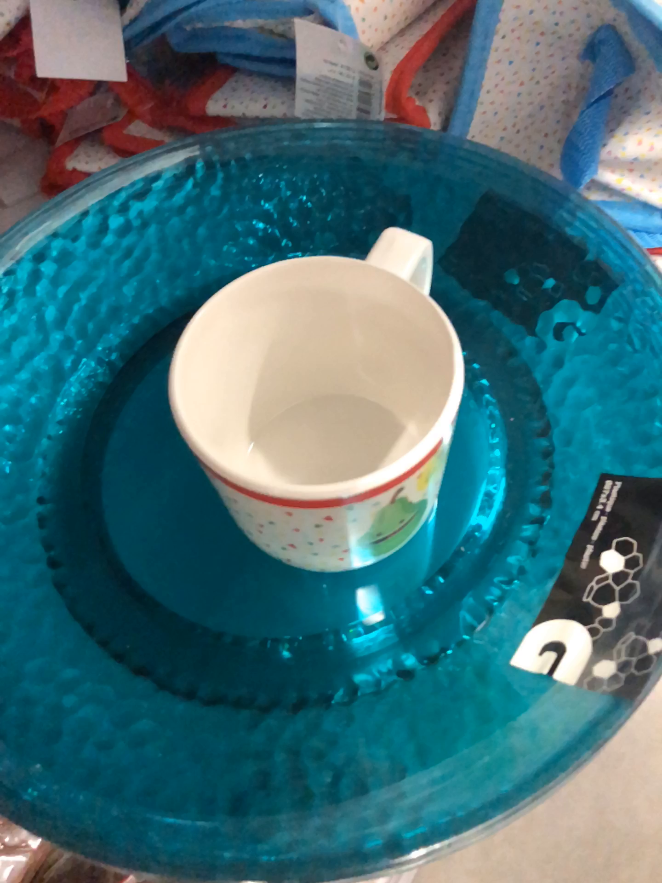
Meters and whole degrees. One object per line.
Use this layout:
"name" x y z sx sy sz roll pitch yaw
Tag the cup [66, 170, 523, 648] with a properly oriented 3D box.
"cup" -0.004 -0.011 0.211 0.076 0.059 0.103 23 64 15
